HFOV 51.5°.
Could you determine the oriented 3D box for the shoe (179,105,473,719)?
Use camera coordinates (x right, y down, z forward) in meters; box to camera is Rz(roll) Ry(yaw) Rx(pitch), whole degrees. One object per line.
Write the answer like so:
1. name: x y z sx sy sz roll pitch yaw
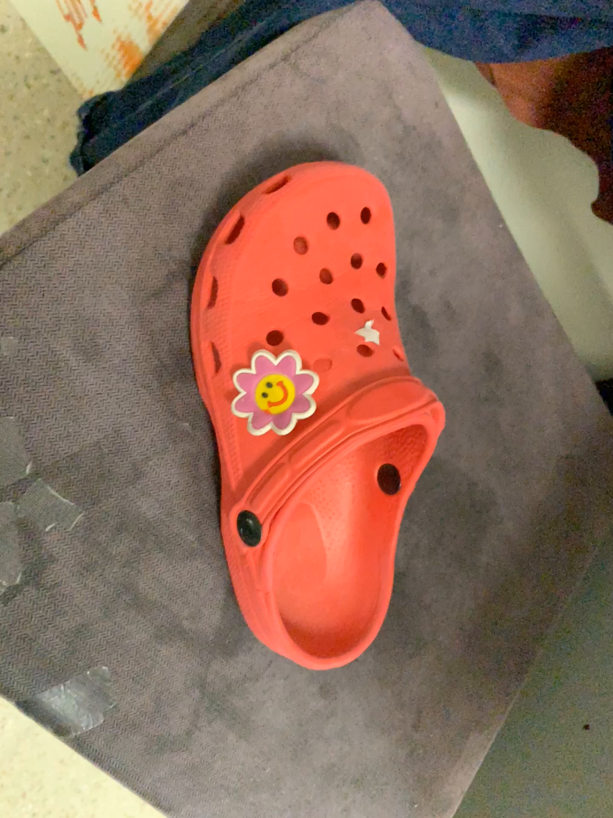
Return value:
1. shoe: 0.008 0.000 0.274 0.092 0.081 0.208 -4 94 -33
